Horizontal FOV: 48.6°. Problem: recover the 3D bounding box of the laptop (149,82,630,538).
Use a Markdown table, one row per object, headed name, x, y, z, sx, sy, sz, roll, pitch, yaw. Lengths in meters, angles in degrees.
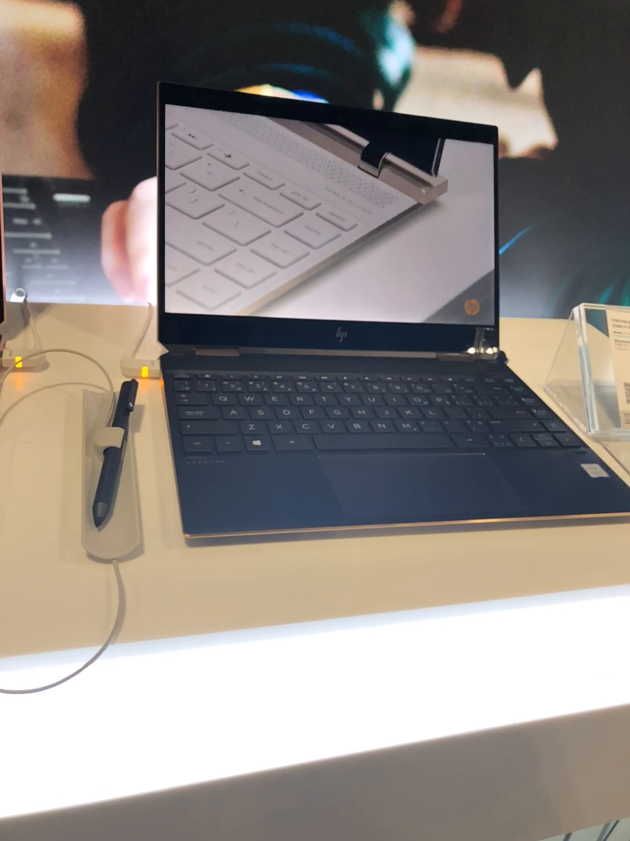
| name | x | y | z | sx | sy | sz | roll | pitch | yaw |
| --- | --- | --- | --- | --- | --- | --- | --- | --- | --- |
| laptop | 0.046 | -0.107 | 0.505 | 0.305 | 0.172 | 0.347 | 0 | 32 | -17 |
